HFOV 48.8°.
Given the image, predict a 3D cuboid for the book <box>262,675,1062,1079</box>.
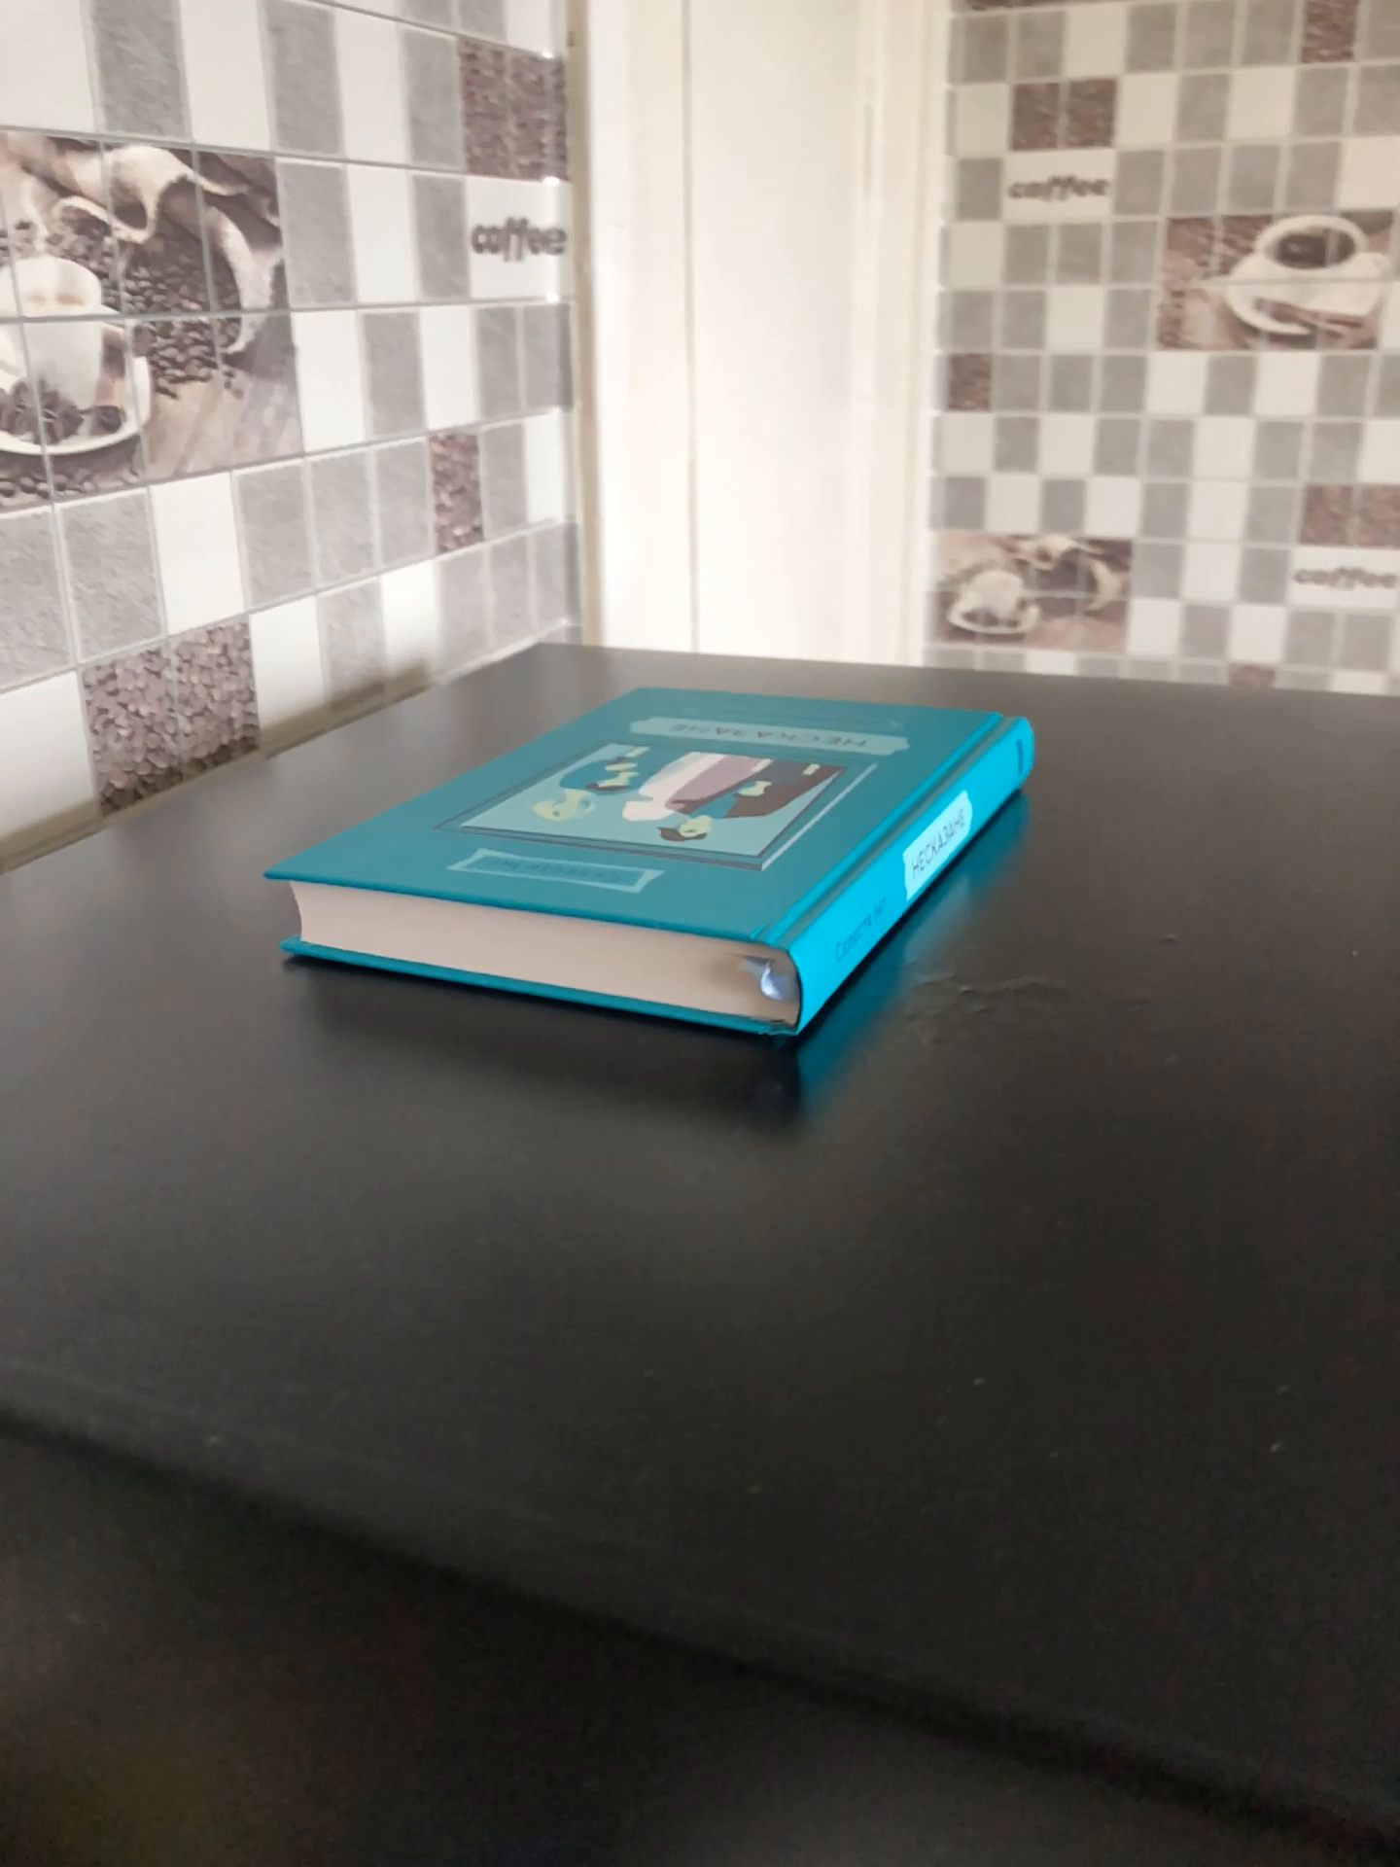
[{"bbox_3d":[0.006,-0.032,0.448,0.151,0.030,0.221,8,24,22],"label":"book"}]
